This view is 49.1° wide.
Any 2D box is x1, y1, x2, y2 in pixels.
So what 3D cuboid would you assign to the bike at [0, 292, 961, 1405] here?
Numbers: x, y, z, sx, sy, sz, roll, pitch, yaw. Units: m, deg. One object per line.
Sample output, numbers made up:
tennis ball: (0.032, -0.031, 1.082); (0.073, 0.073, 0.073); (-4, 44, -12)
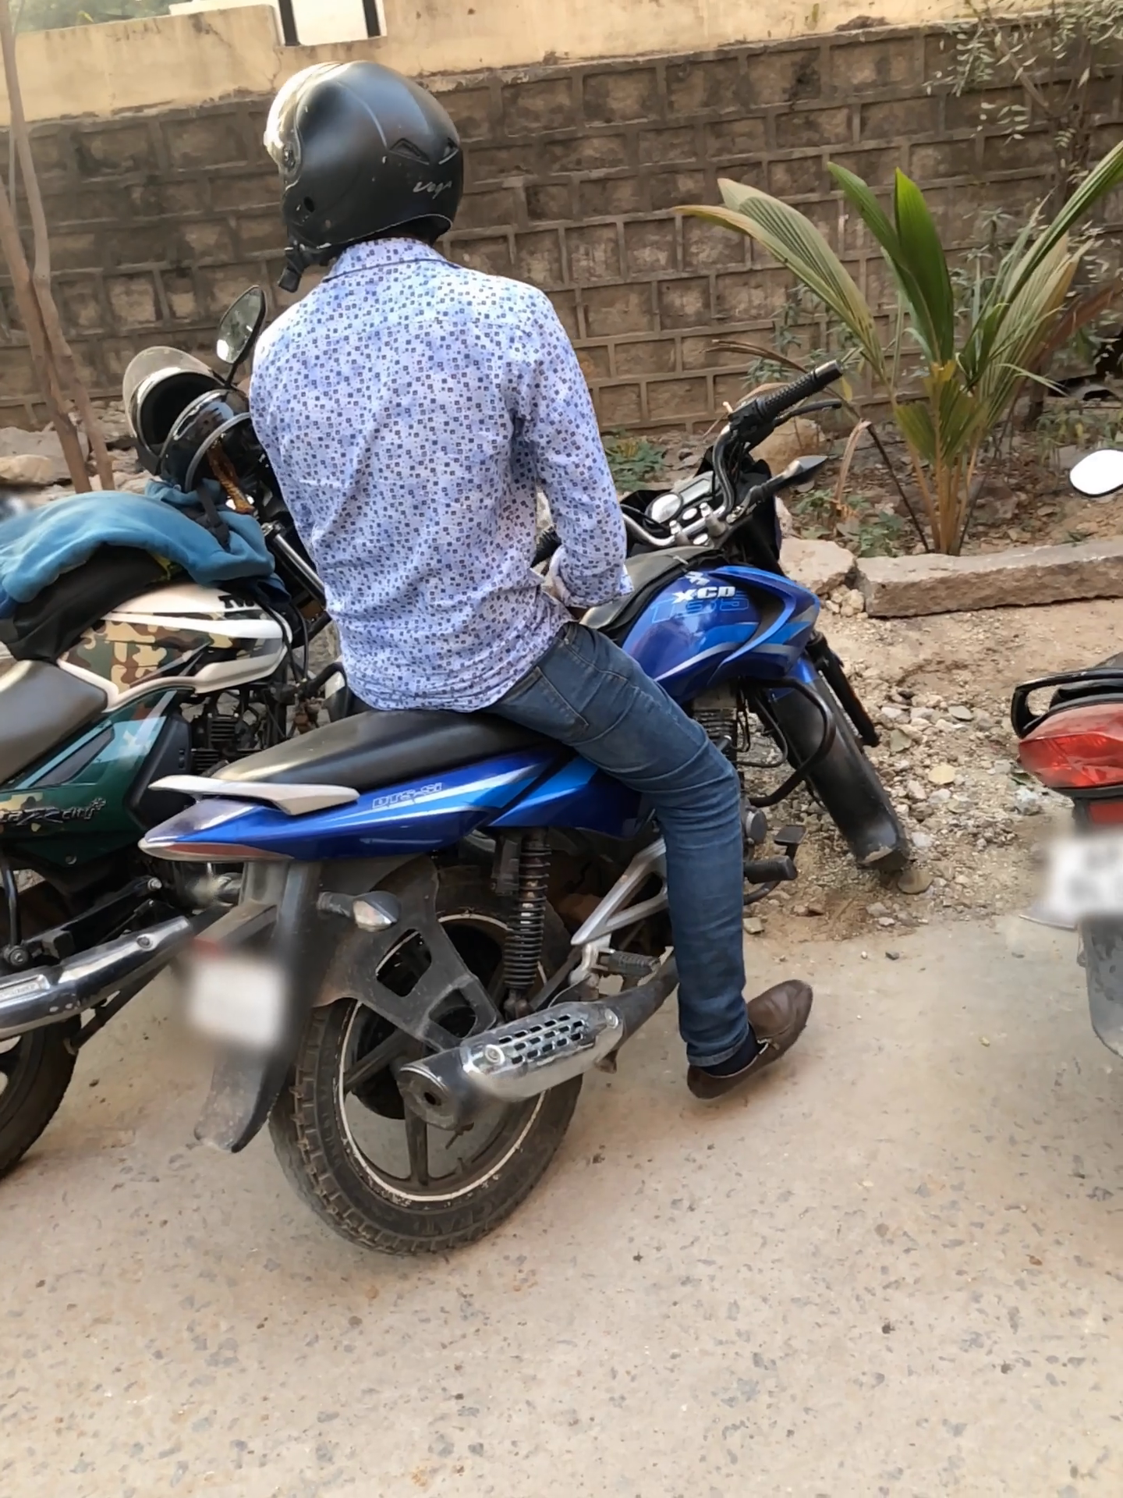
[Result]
bike: (0.017, -0.054, 2.137); (0.756, 1.076, 1.580); (13, 34, 36)
